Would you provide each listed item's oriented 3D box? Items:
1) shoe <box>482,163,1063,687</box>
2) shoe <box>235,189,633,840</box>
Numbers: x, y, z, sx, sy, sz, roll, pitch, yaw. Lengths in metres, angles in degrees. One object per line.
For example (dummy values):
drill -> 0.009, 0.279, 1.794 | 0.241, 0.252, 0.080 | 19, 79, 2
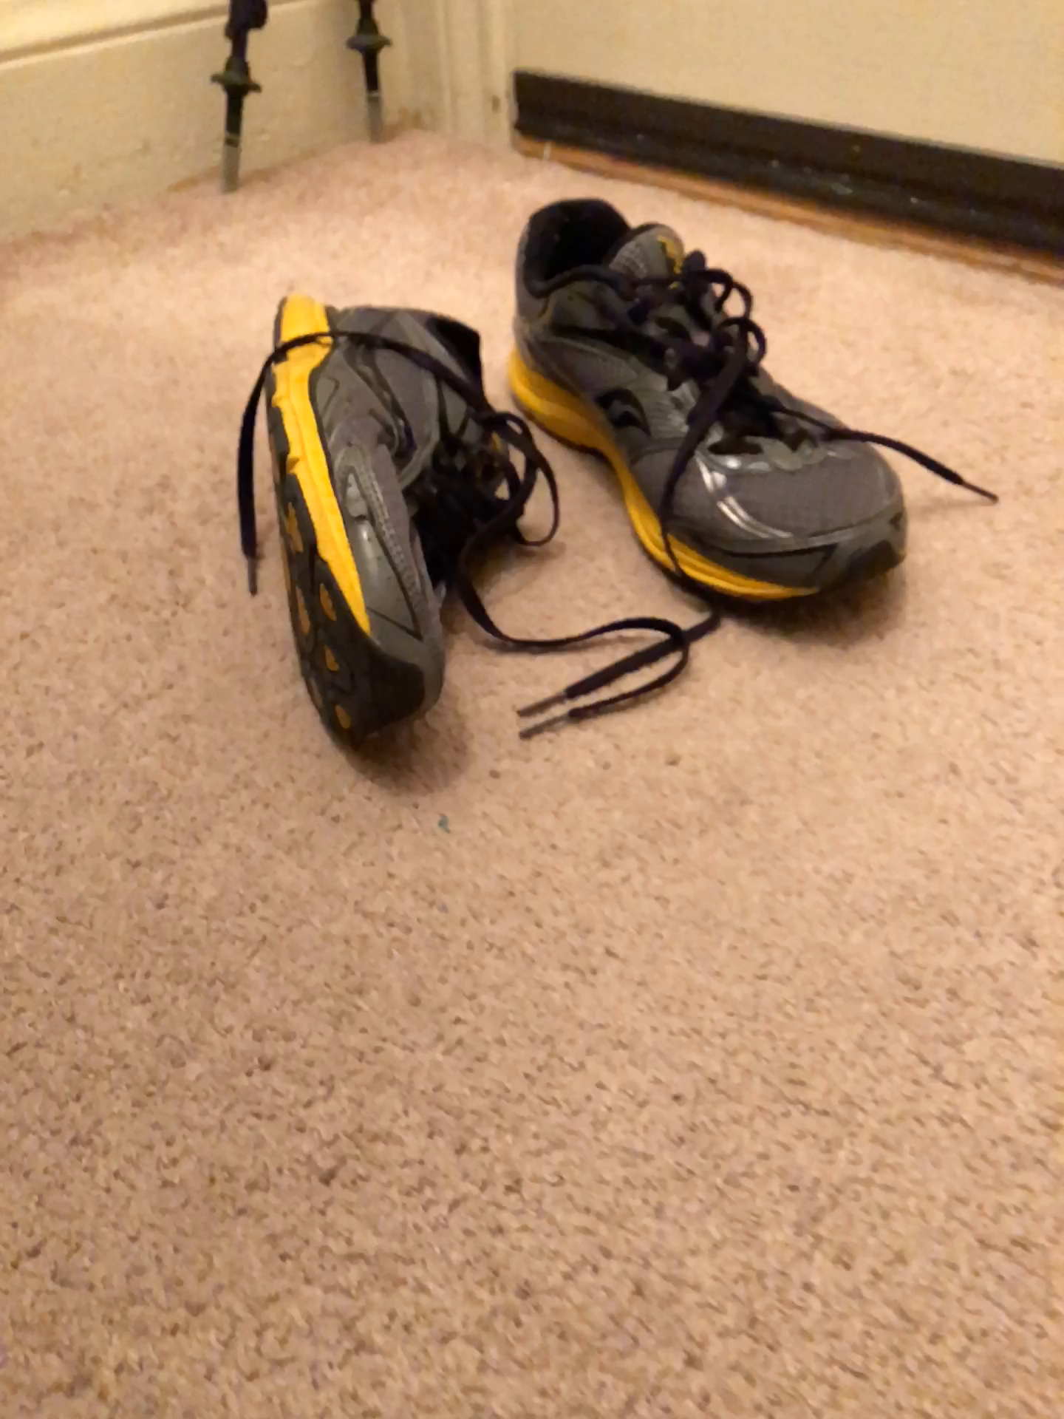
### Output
shoe -> 0.085, -0.146, 0.529 | 0.118, 0.098, 0.285 | -16, 42, -15
shoe -> -0.052, -0.102, 0.490 | 0.109, 0.117, 0.295 | -11, 41, -6
